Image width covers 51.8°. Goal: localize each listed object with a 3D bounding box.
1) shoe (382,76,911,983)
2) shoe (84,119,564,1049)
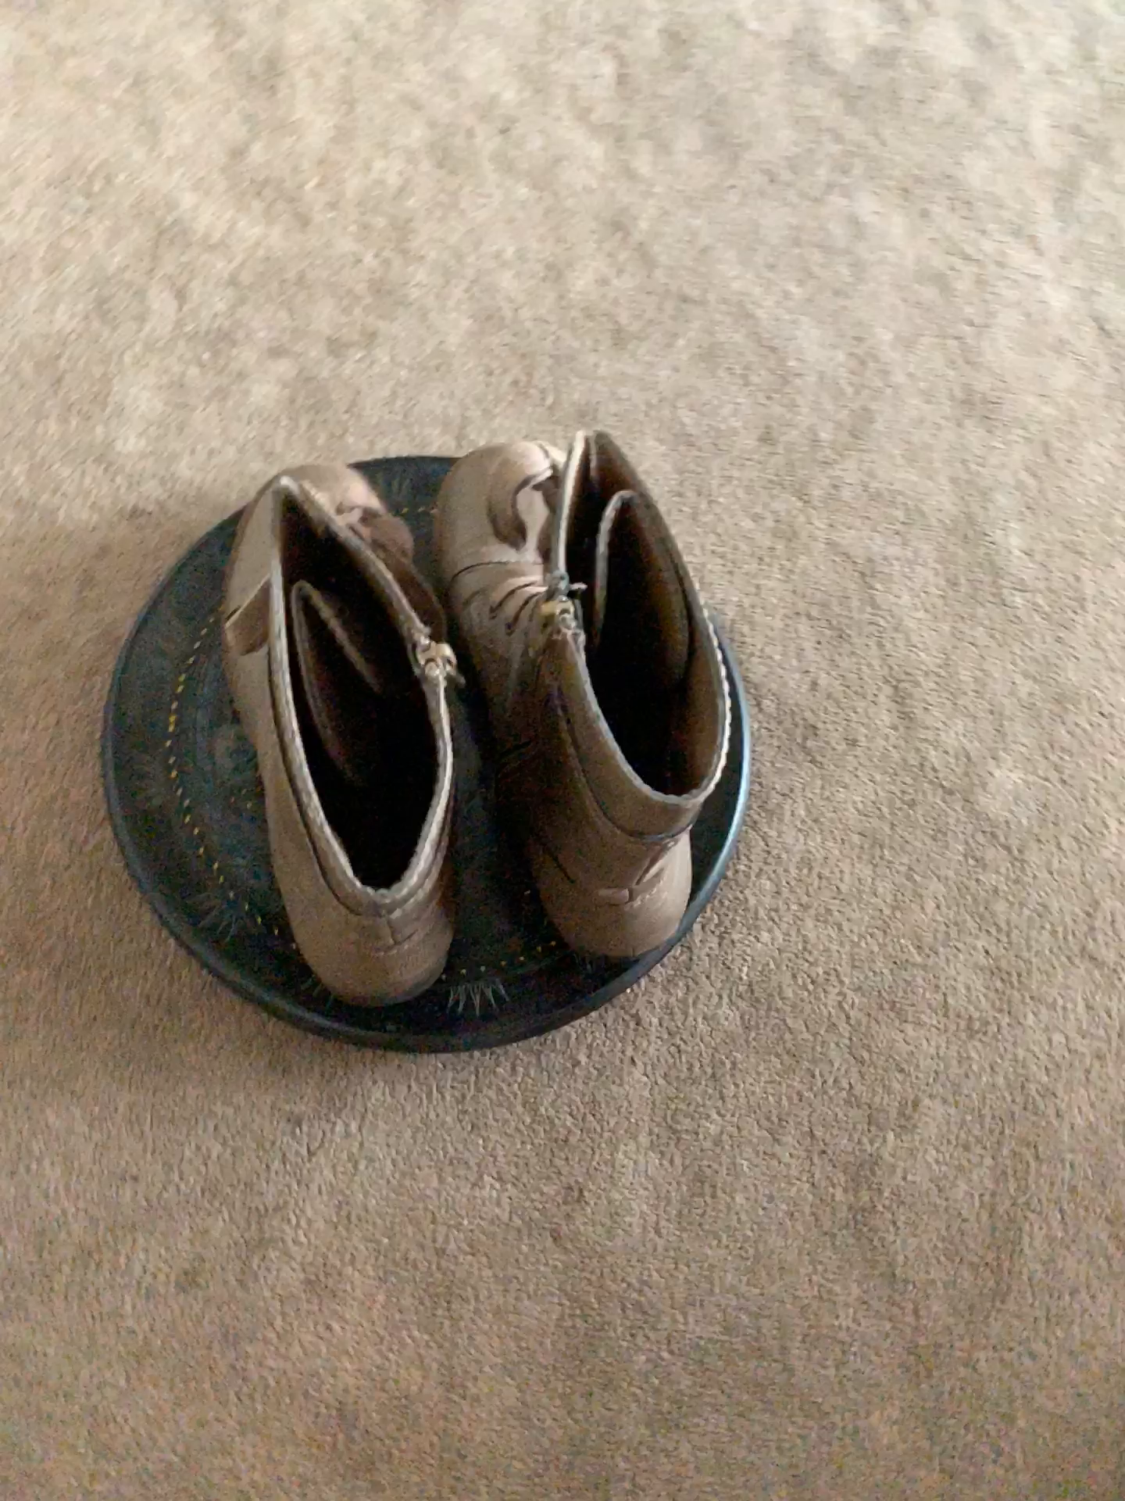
[{"bbox_3d":[0.008,-0.071,0.449,0.100,0.199,0.271,-10,70,-9],"label":"shoe"},{"bbox_3d":[-0.087,-0.047,0.434,0.100,0.199,0.271,-10,70,-9],"label":"shoe"}]
